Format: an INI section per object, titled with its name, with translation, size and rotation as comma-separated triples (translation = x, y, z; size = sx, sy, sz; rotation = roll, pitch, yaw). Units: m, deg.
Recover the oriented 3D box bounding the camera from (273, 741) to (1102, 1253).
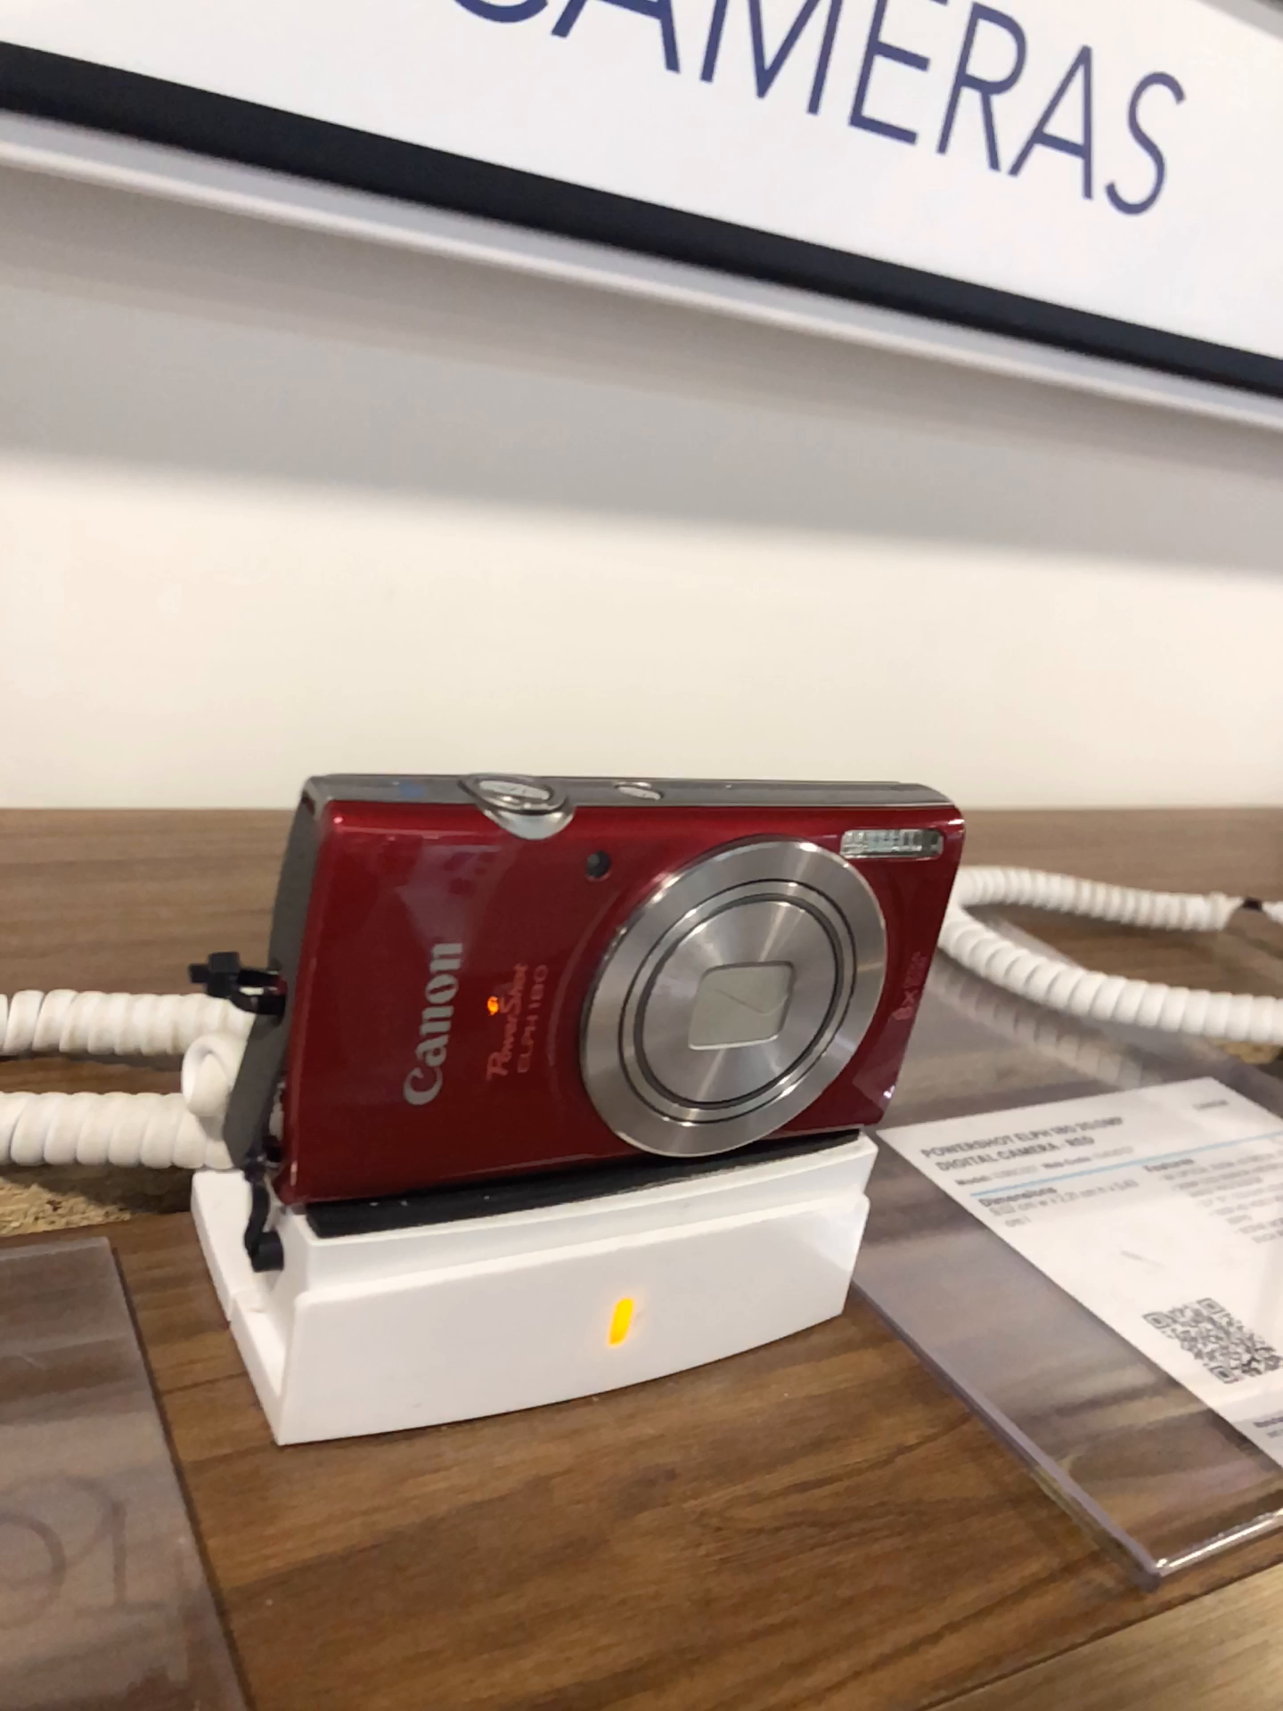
[camera]
translation = 0.008, 0.015, 0.187
size = 0.100, 0.050, 0.030
rotation = 0, 20, -30
